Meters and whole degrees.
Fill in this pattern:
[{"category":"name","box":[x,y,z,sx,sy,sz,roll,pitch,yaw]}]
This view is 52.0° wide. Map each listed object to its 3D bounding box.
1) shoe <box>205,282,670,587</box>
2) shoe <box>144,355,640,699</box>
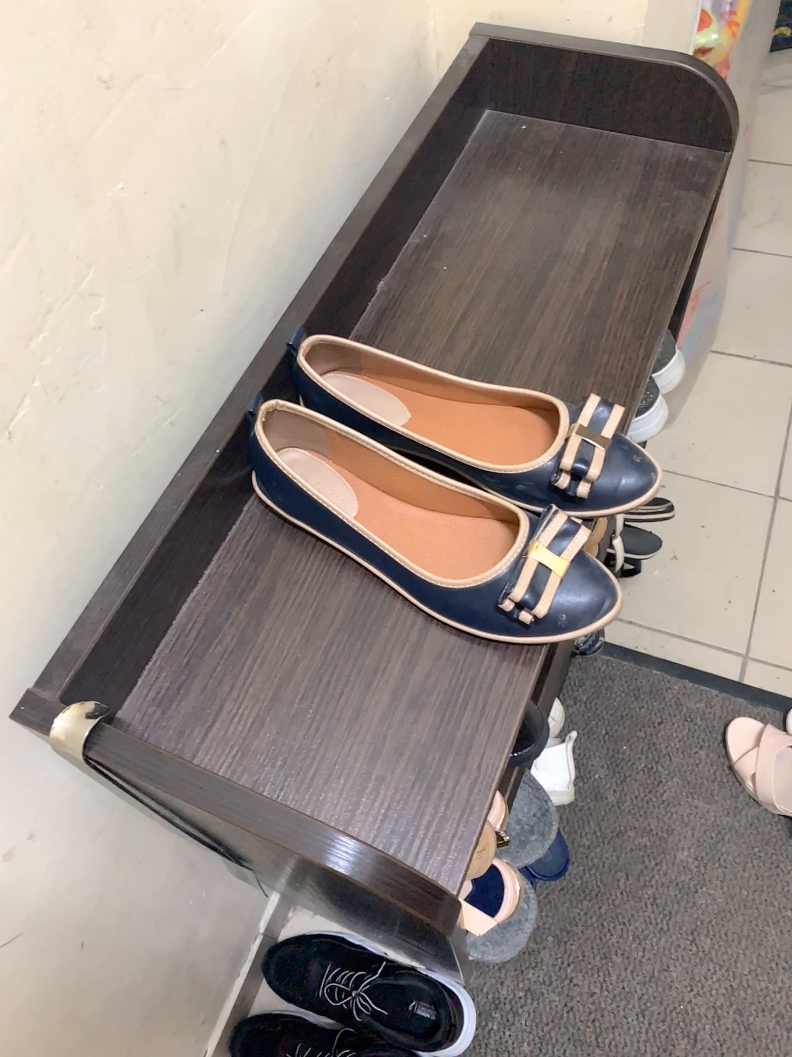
[{"category":"shoe","box":[0.027,-0.068,0.560,0.280,0.100,0.100,19,68,18]},{"category":"shoe","box":[-0.003,-0.005,0.522,0.280,0.100,0.100,21,69,19]}]
